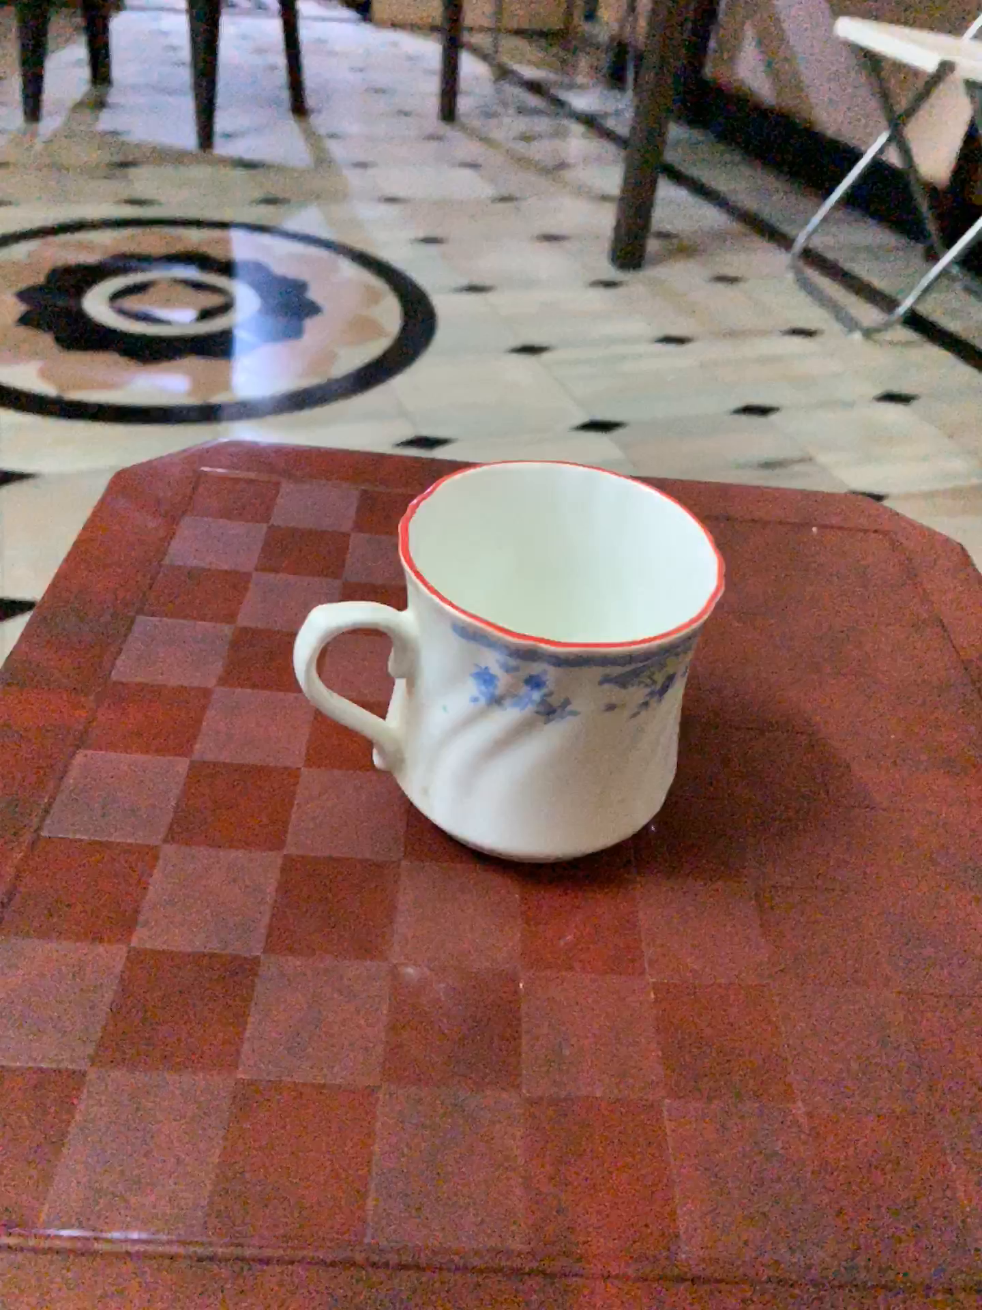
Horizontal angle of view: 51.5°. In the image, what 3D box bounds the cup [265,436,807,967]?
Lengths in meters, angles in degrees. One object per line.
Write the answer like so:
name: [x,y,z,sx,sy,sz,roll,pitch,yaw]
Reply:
cup: [0.003,0.007,0.230,0.090,0.080,0.070,-9,42,-19]
